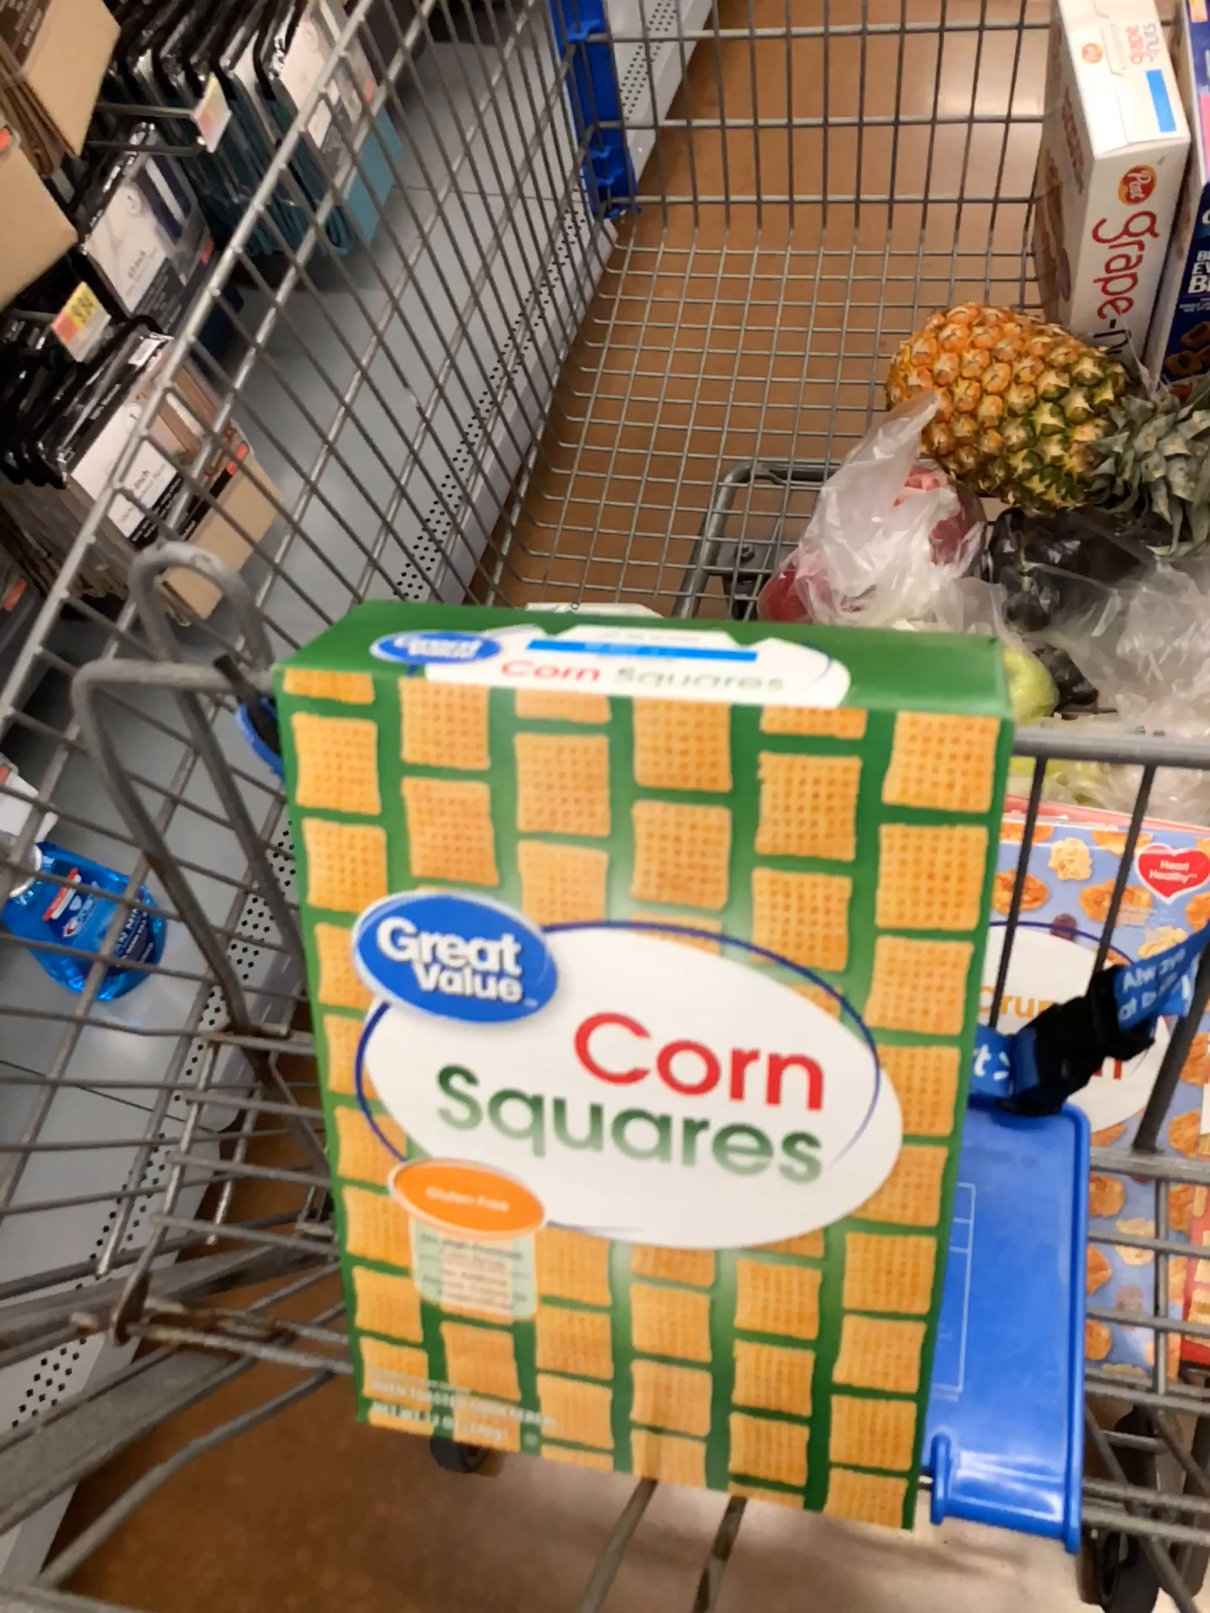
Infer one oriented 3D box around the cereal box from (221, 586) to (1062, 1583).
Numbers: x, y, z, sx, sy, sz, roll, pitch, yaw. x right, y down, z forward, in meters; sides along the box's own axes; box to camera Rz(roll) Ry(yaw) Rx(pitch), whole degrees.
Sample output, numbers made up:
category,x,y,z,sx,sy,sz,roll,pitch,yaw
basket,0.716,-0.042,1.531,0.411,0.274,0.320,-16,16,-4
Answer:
category,x,y,z,sx,sy,sz,roll,pitch,yaw
cereal box,0.012,0.084,0.395,0.200,0.280,0.070,5,24,13
